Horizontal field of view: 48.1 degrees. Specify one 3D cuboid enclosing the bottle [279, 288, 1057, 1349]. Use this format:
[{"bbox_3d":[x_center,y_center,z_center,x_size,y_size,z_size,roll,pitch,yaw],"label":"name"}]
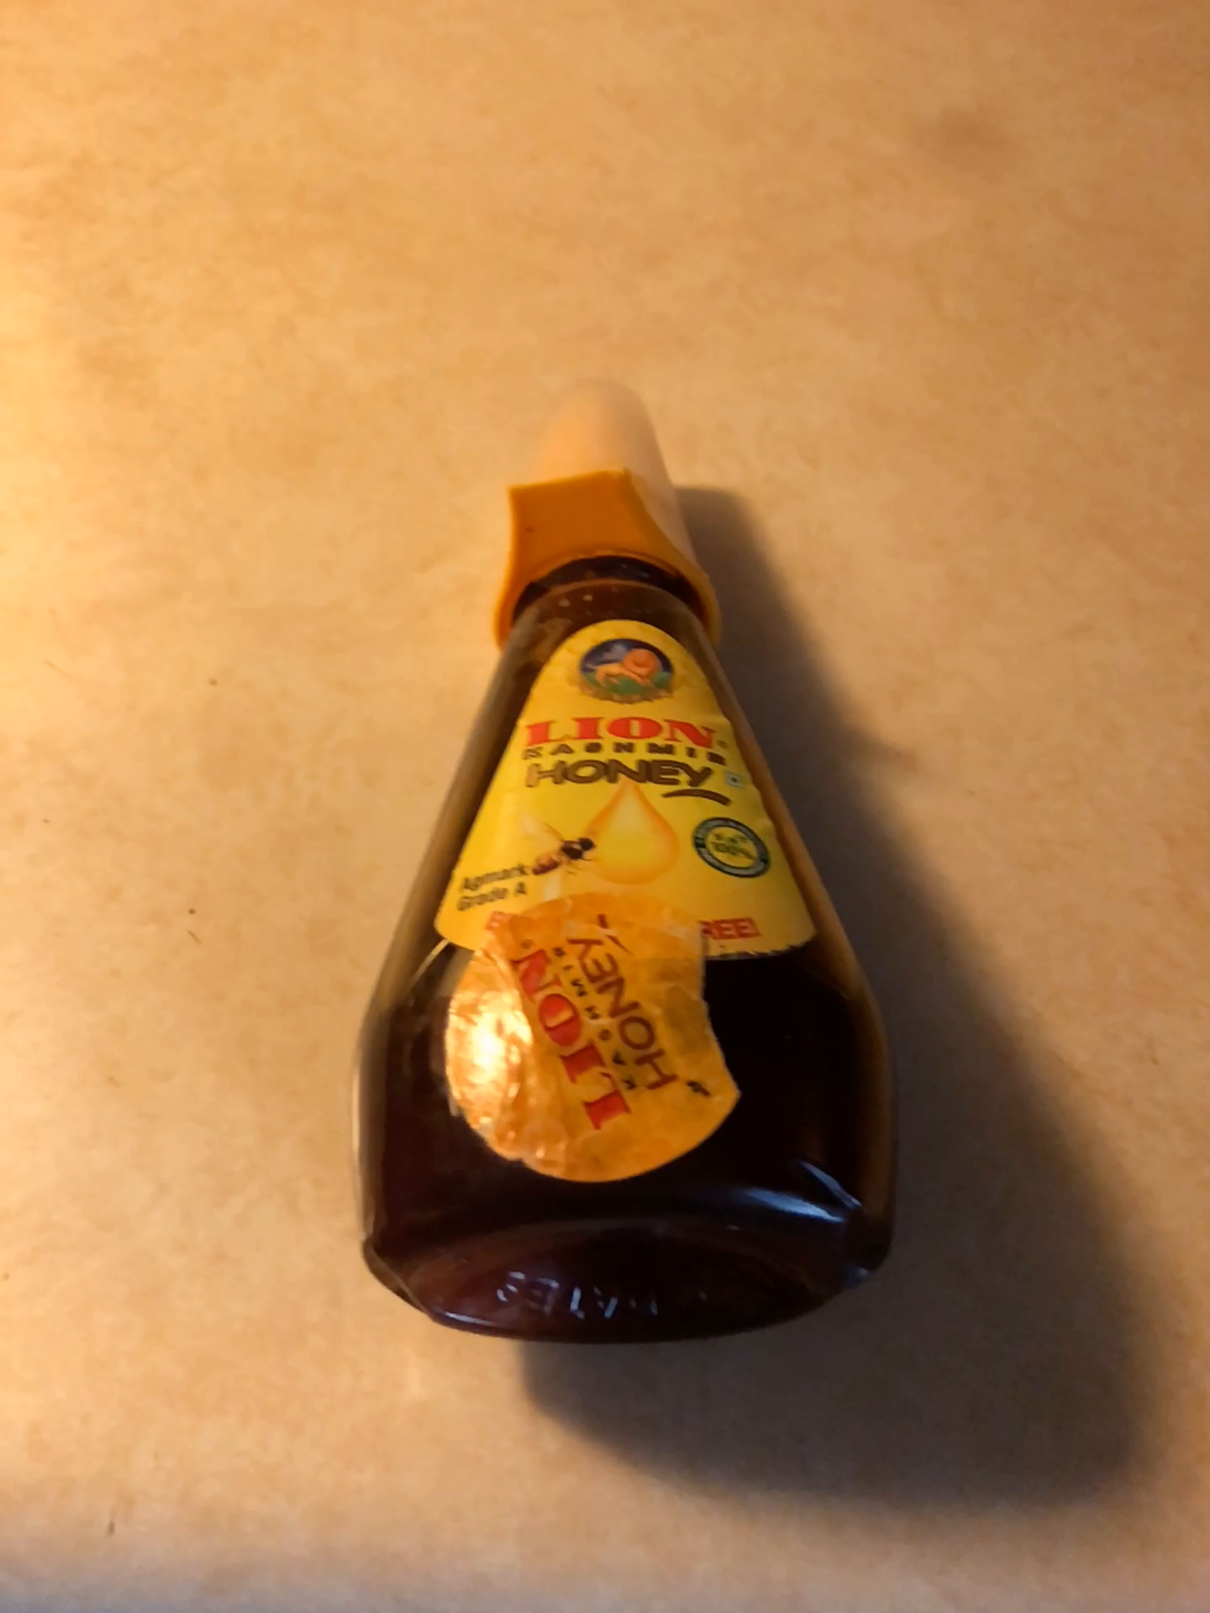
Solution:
[{"bbox_3d":[0.005,-0.013,0.235,0.090,0.050,0.190,-2,52,0],"label":"bottle"}]
